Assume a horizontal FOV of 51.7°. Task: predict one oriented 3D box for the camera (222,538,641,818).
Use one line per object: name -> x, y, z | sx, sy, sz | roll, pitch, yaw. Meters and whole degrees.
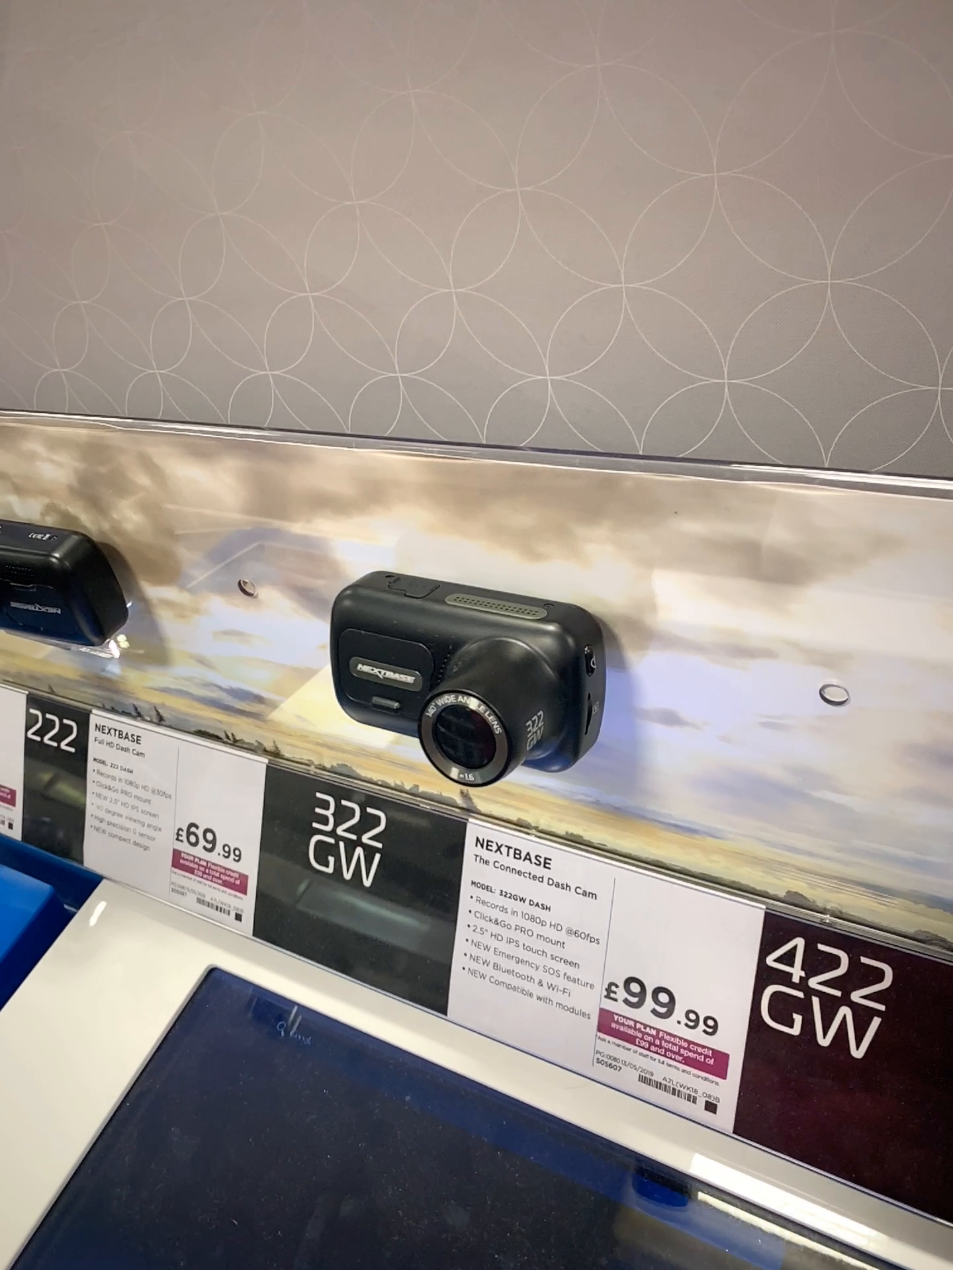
camera -> -0.011, 0.006, 0.275 | 0.090, 0.040, 0.070 | 12, 24, 32
